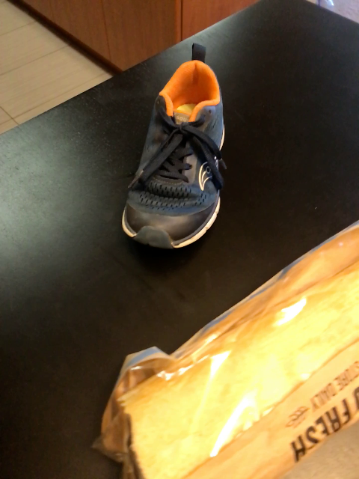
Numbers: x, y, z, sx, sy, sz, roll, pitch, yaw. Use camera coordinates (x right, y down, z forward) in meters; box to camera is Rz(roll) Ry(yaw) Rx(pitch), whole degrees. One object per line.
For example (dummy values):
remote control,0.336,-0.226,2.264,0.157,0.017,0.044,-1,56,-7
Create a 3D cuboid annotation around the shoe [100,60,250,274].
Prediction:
shoe,0.005,-0.074,0.360,0.084,0.072,0.187,11,57,7
